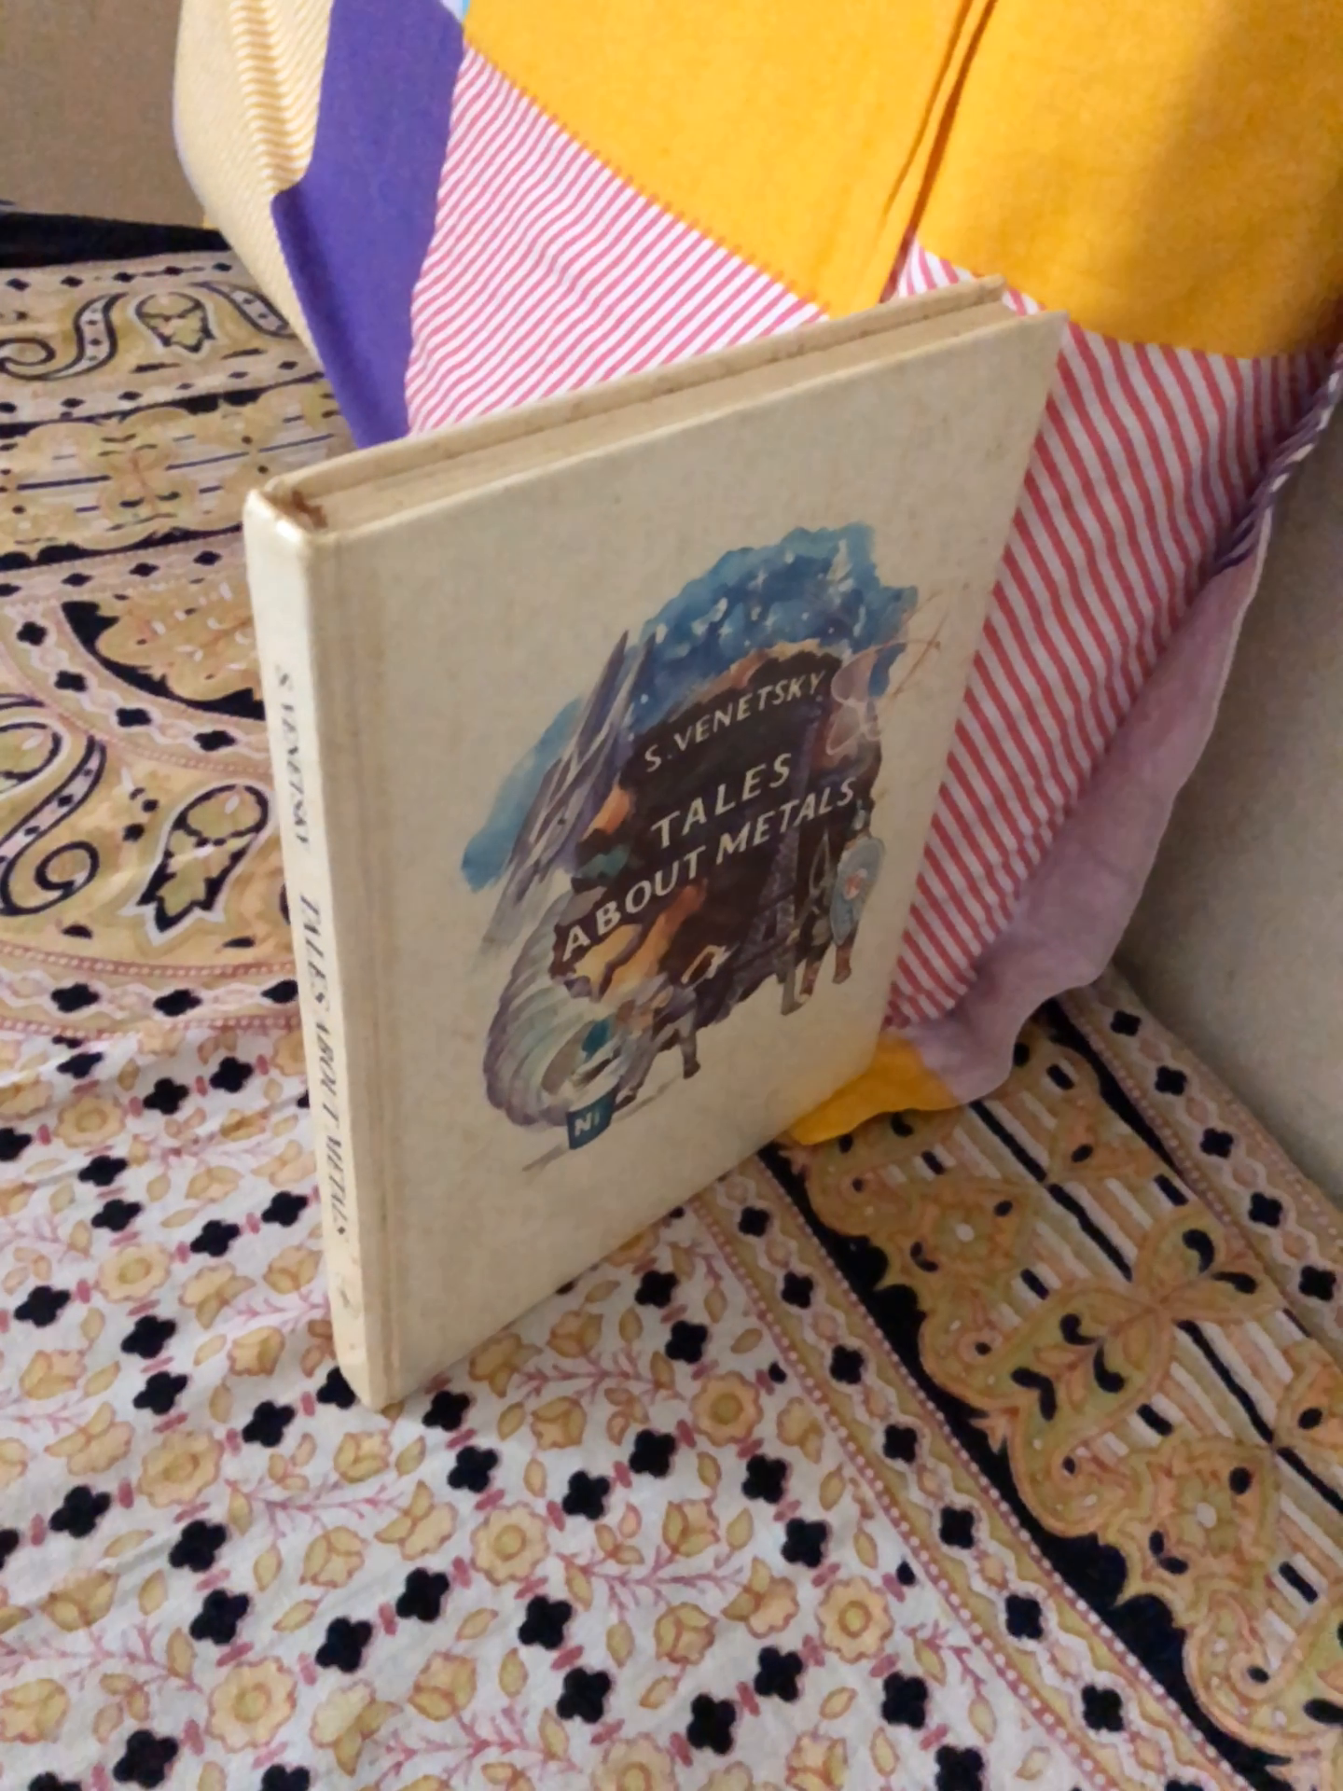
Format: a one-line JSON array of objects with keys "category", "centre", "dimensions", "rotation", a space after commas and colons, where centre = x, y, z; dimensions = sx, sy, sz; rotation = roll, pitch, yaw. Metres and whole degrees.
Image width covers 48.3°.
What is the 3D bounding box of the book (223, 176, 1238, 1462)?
[{"category": "book", "centre": [0.005, -0.013, 0.328], "dimensions": [0.191, 0.249, 0.050], "rotation": [-24, 51, -36]}]
